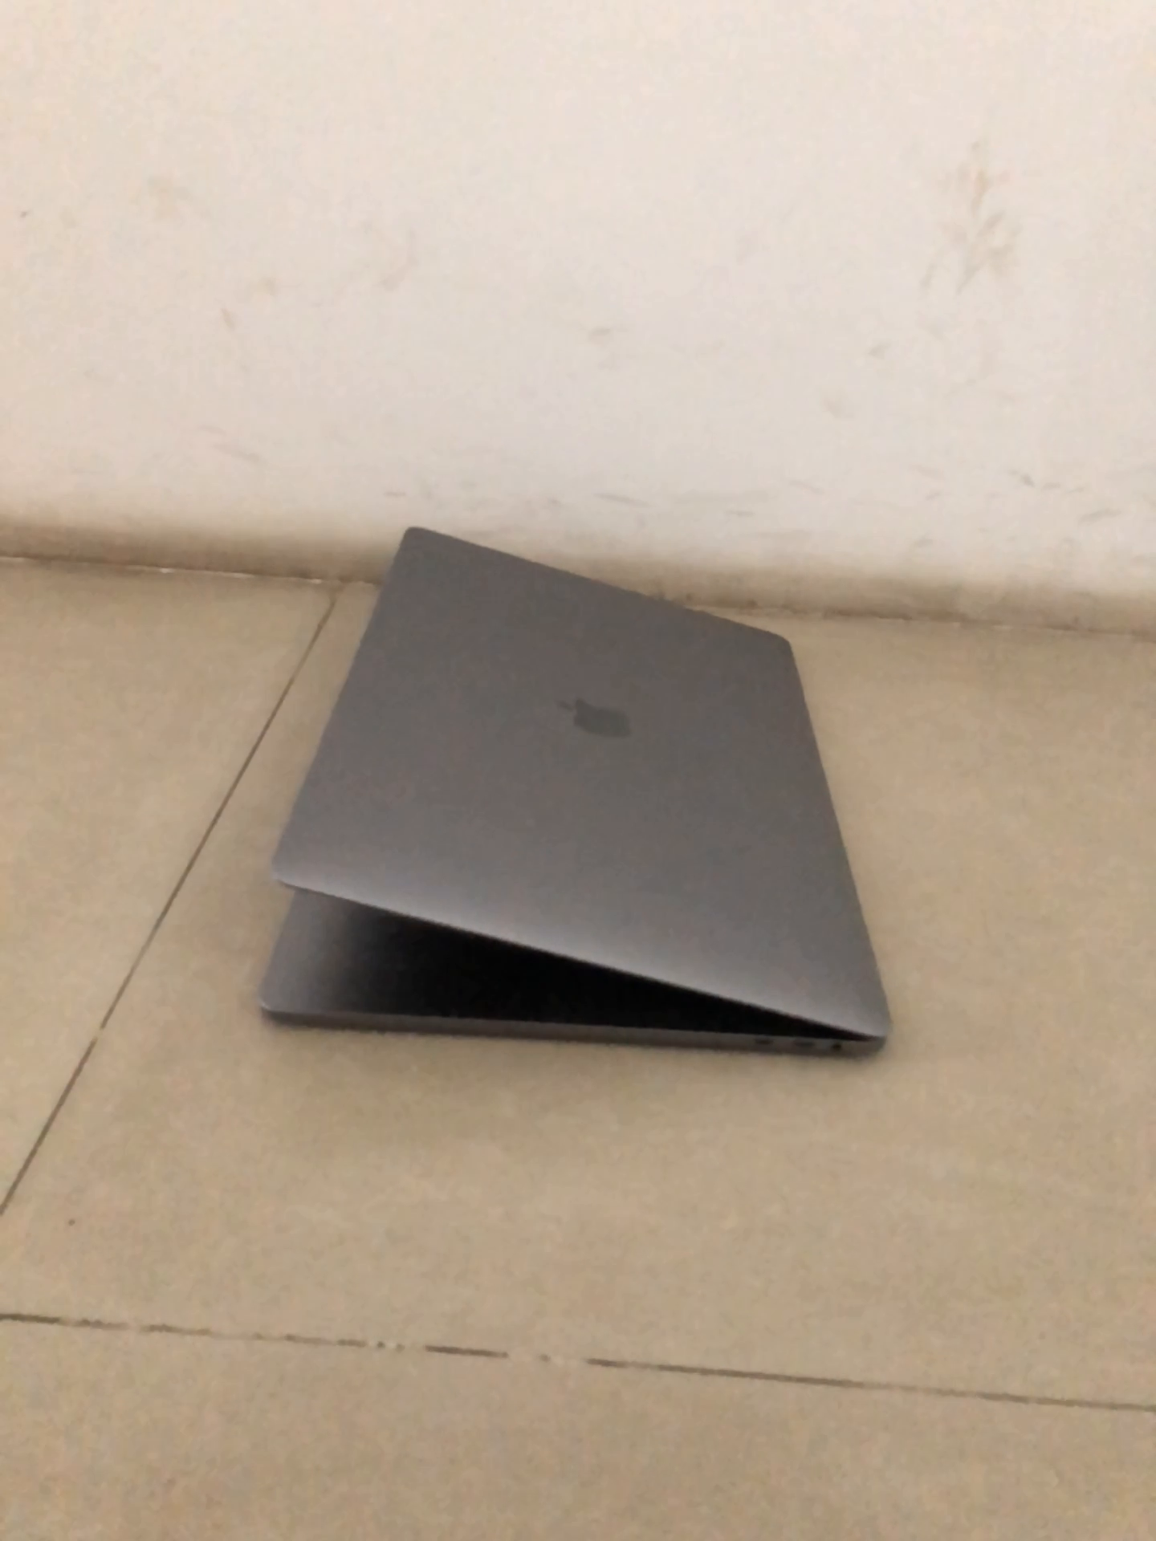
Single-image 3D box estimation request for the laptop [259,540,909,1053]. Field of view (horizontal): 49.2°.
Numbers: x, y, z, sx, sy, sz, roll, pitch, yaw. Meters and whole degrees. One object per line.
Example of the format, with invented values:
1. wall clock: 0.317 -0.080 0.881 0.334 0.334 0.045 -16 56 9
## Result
1. laptop: 0.008 -0.014 0.606 0.232 0.057 0.337 4 32 1
